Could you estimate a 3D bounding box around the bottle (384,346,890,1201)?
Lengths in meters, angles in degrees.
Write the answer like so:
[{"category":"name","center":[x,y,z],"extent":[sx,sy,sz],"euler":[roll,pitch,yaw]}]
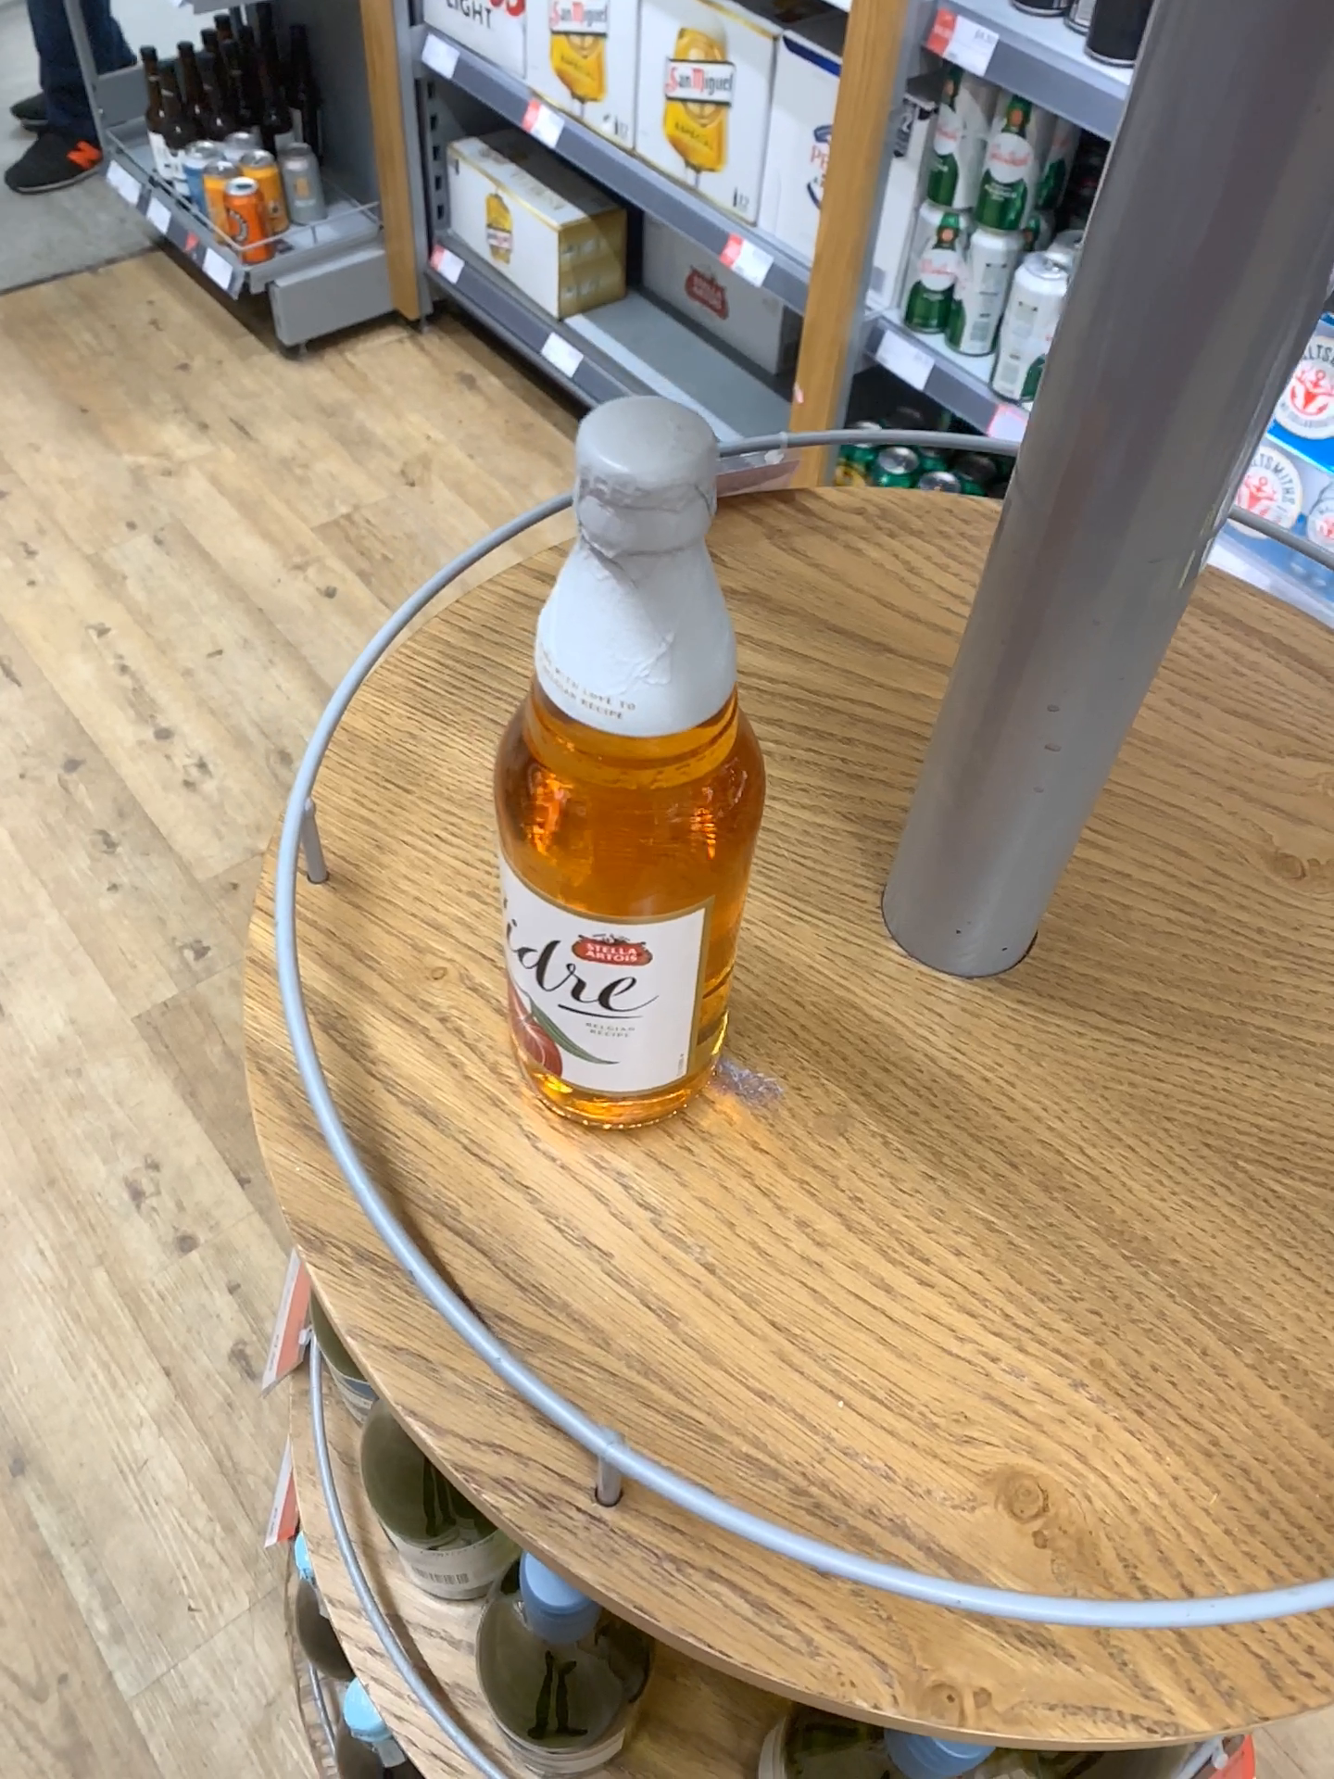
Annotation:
[{"category":"bottle","center":[-0.012,-0.012,0.350],"extent":[0.070,0.218,0.069],"euler":[2,52,-2]}]
